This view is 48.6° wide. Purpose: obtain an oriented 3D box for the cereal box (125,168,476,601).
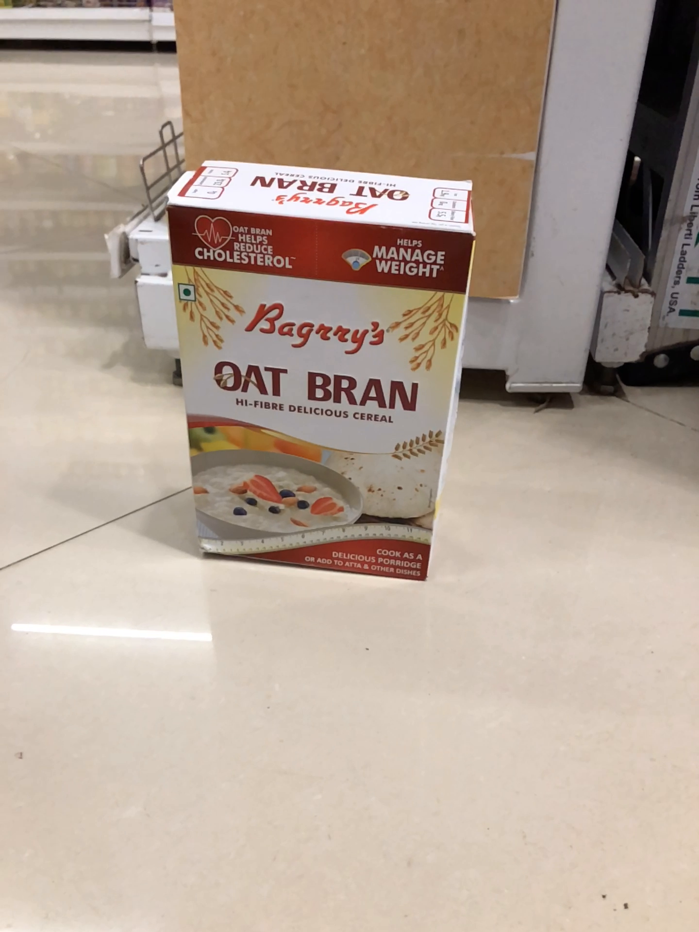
[{"bbox_3d":[-0.021,-0.038,0.411,0.150,0.209,0.060,7,33,9],"label":"cereal box"}]
